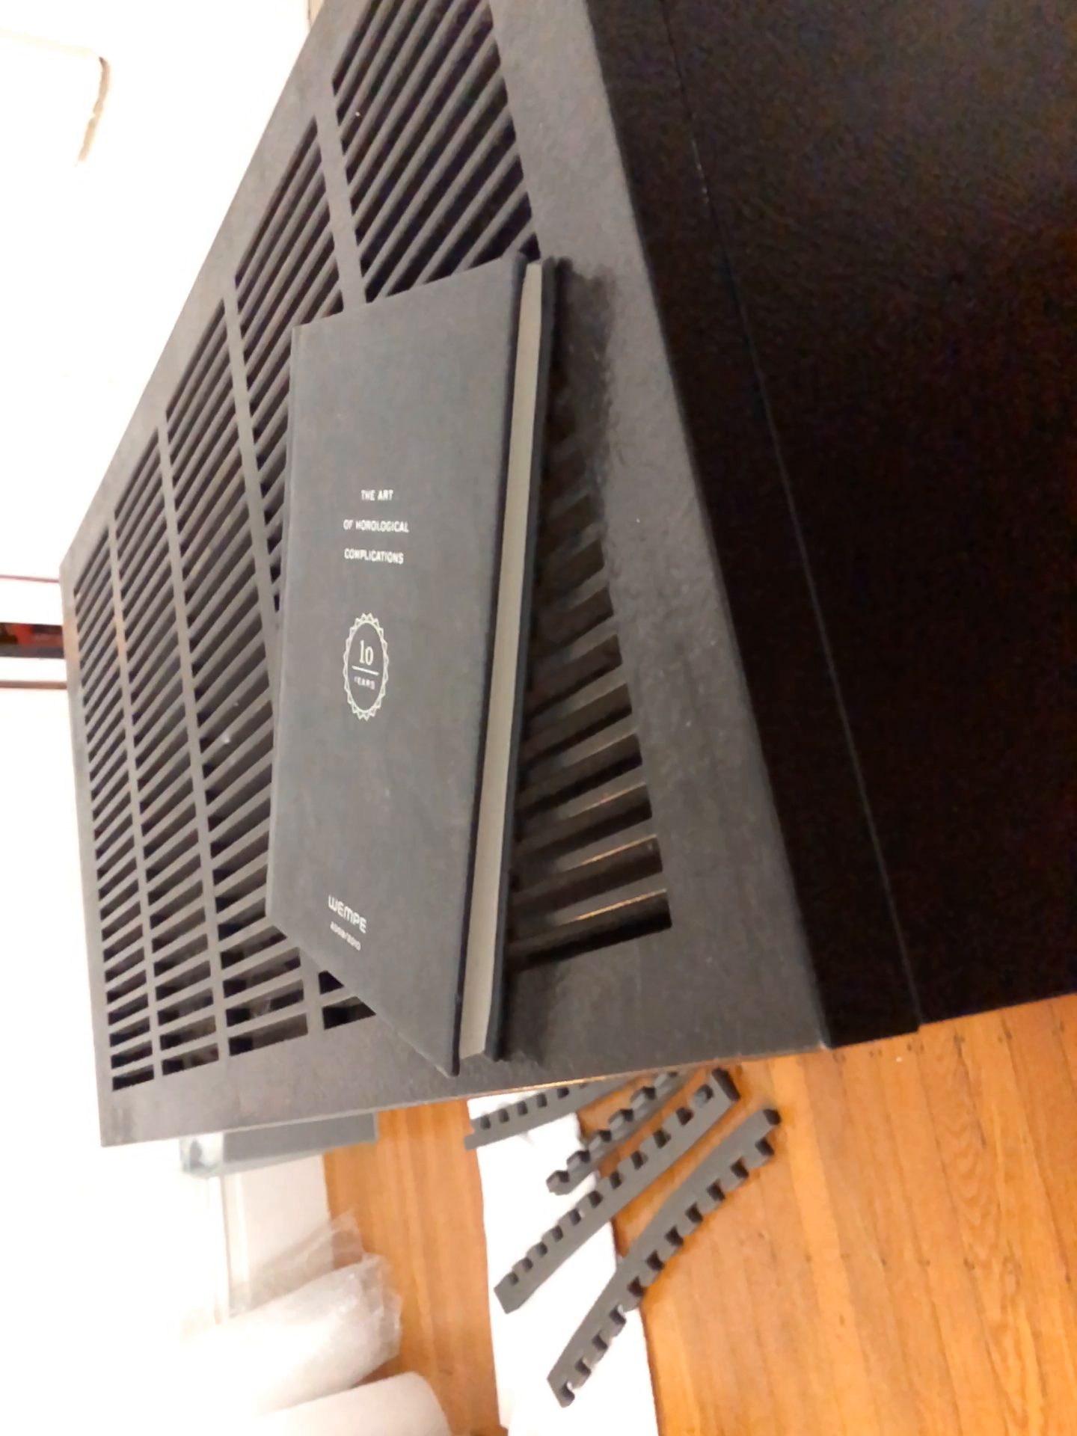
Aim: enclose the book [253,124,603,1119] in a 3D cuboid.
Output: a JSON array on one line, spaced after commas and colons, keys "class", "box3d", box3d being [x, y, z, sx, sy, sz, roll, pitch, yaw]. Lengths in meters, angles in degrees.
[{"class": "book", "box3d": [-0.046, -0.030, 0.371, 0.161, 0.020, 0.250, 16, 103, 57]}]
